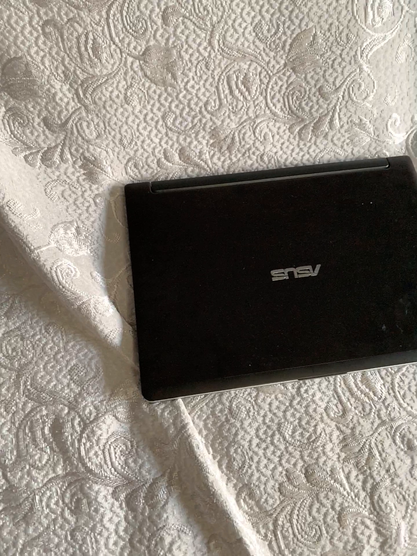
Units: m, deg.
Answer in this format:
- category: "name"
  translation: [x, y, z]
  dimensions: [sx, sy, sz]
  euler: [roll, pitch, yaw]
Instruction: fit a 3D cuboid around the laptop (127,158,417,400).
- category: "laptop"
  translation: [0.092, -0.016, 0.449]
  dimensions: [0.334, 0.001, 0.232]
  euler: [-7, 68, -6]
